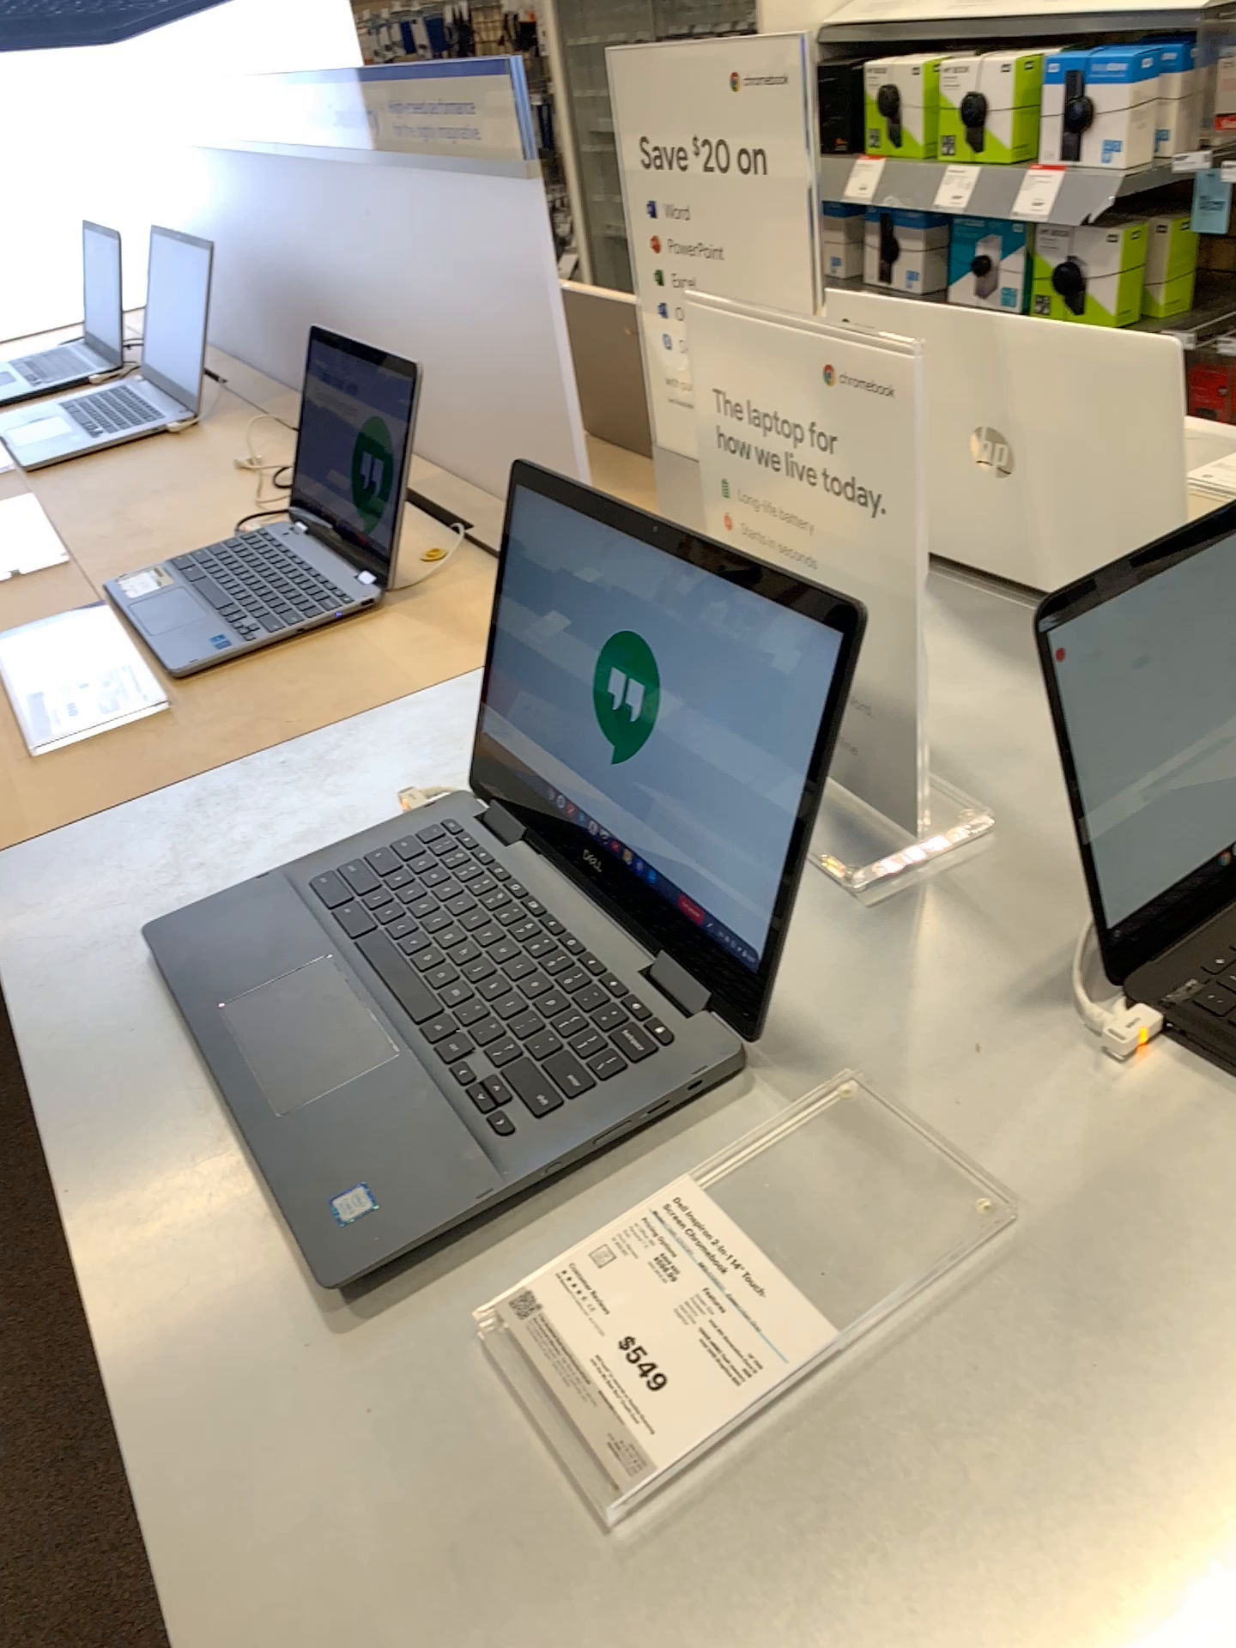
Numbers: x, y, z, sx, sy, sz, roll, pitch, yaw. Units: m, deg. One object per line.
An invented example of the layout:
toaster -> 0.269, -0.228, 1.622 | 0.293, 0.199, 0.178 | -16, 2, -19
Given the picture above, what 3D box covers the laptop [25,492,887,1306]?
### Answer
laptop -> -0.085, 0.001, 0.637 | 0.292, 0.202, 0.311 | -23, 35, -21
